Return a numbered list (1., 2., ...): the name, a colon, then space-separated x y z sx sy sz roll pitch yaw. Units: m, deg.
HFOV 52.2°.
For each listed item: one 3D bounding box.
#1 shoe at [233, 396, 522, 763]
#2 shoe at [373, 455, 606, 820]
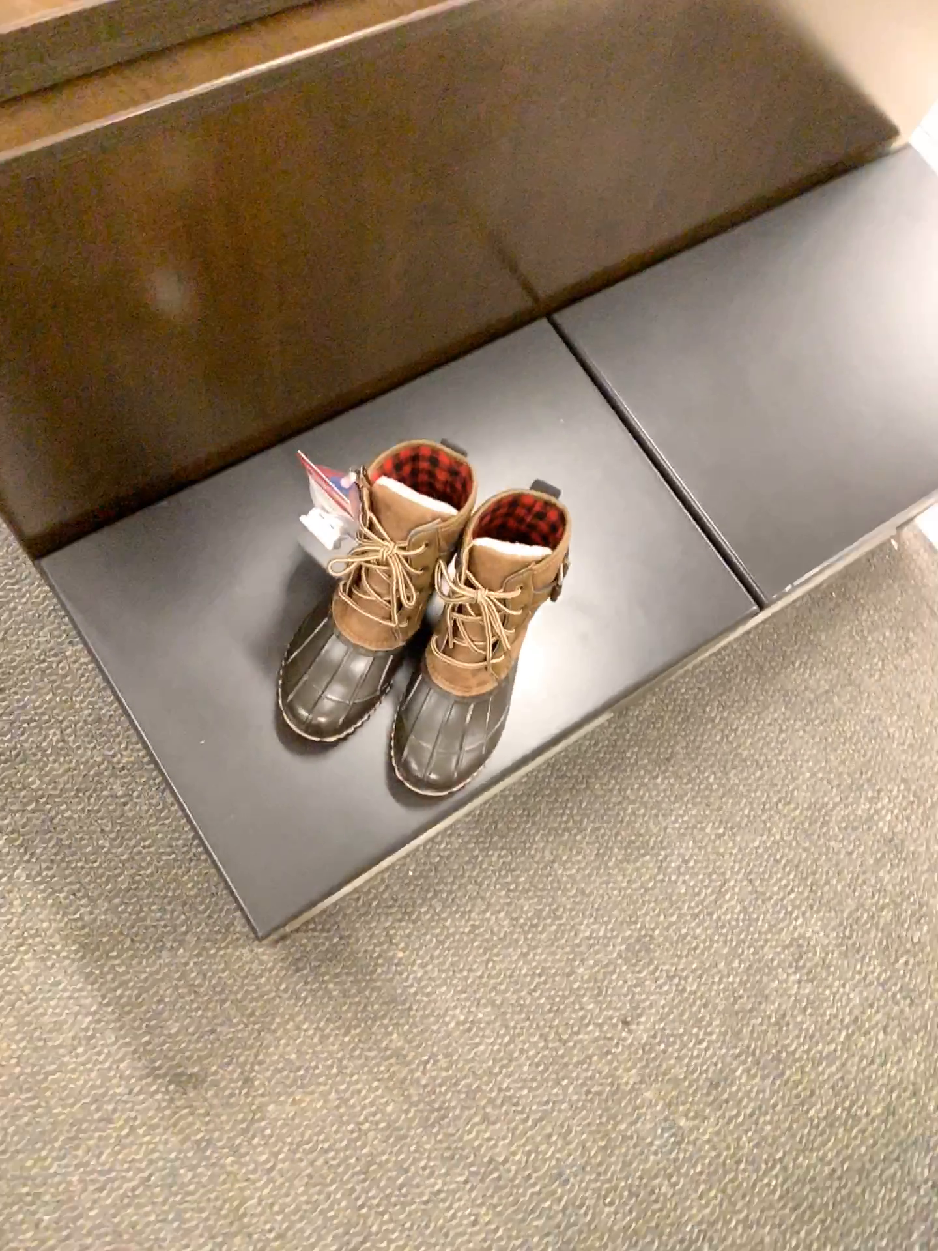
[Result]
1. shoe: -0.072 -0.032 0.765 0.100 0.150 0.240 30 69 1
2. shoe: 0.014 0.015 0.770 0.100 0.150 0.240 19 69 -3
